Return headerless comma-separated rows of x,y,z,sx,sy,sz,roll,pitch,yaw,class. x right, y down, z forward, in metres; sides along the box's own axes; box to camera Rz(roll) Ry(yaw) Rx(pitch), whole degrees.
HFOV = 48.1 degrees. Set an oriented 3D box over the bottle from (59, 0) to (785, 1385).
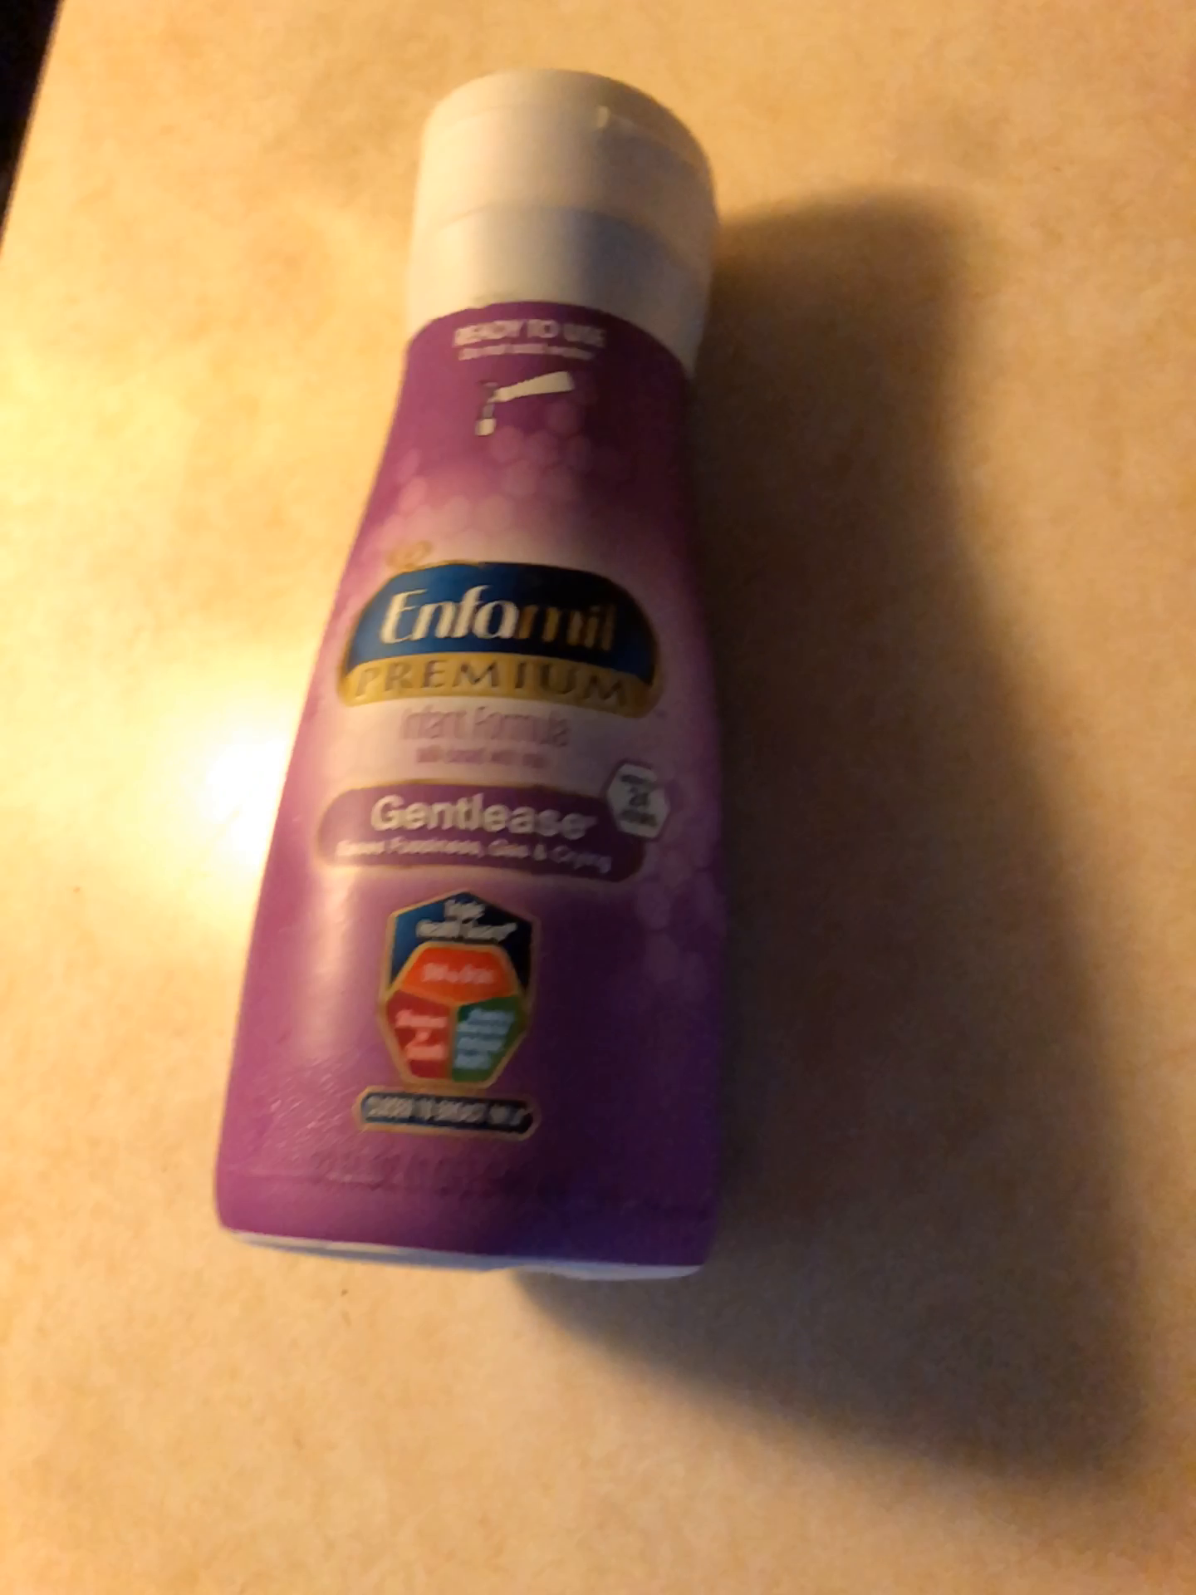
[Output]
-0.015,-0.047,0.265,0.090,0.100,0.280,3,76,8,bottle
